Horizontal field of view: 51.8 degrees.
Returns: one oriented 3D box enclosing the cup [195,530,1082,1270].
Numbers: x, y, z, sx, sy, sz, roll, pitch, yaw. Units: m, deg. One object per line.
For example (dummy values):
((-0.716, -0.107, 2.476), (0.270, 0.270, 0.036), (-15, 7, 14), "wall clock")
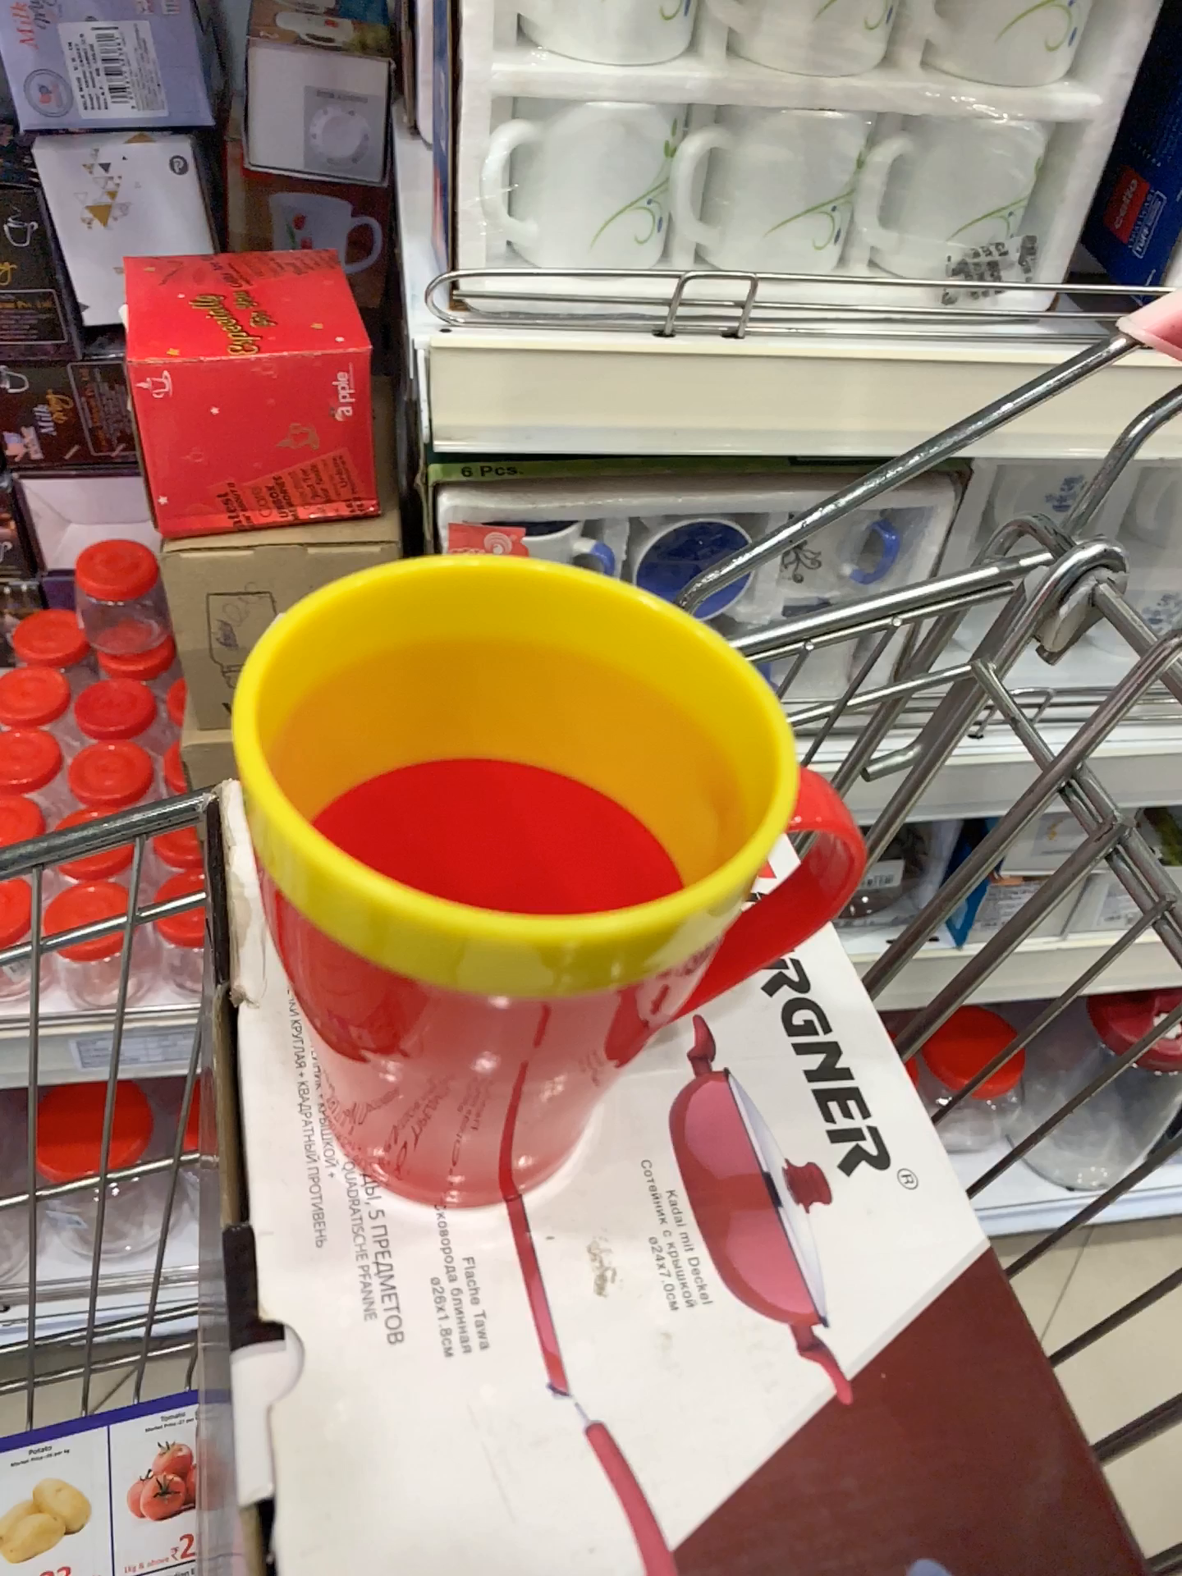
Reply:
((-0.003, 0.015, 0.199), (0.110, 0.080, 0.080), (-2, 46, -14), "cup")
